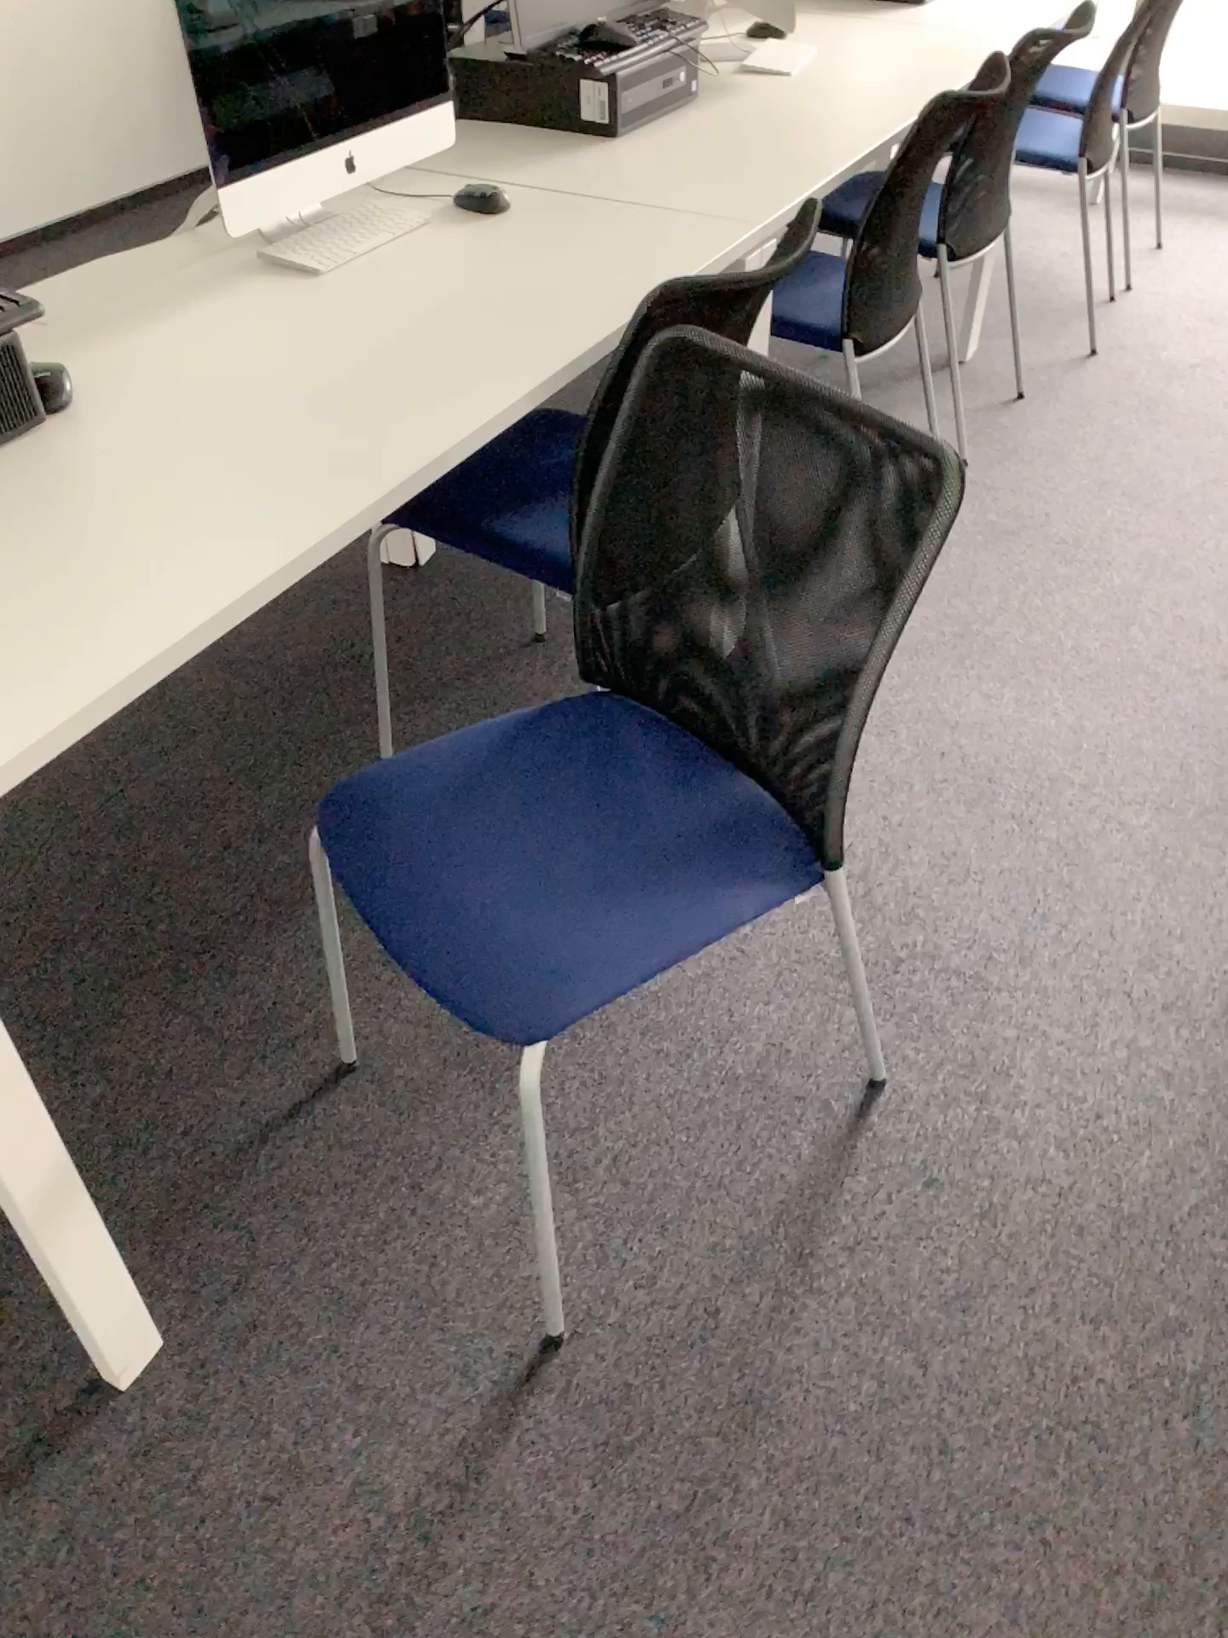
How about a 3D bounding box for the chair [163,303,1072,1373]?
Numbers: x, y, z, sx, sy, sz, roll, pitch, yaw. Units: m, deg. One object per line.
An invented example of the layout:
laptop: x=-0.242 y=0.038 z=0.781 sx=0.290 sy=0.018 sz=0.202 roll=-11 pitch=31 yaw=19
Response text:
chair: x=-0.006 y=0.020 z=1.403 sx=0.602 sy=0.895 sz=0.542 roll=-27 pitch=48 yaw=-28
